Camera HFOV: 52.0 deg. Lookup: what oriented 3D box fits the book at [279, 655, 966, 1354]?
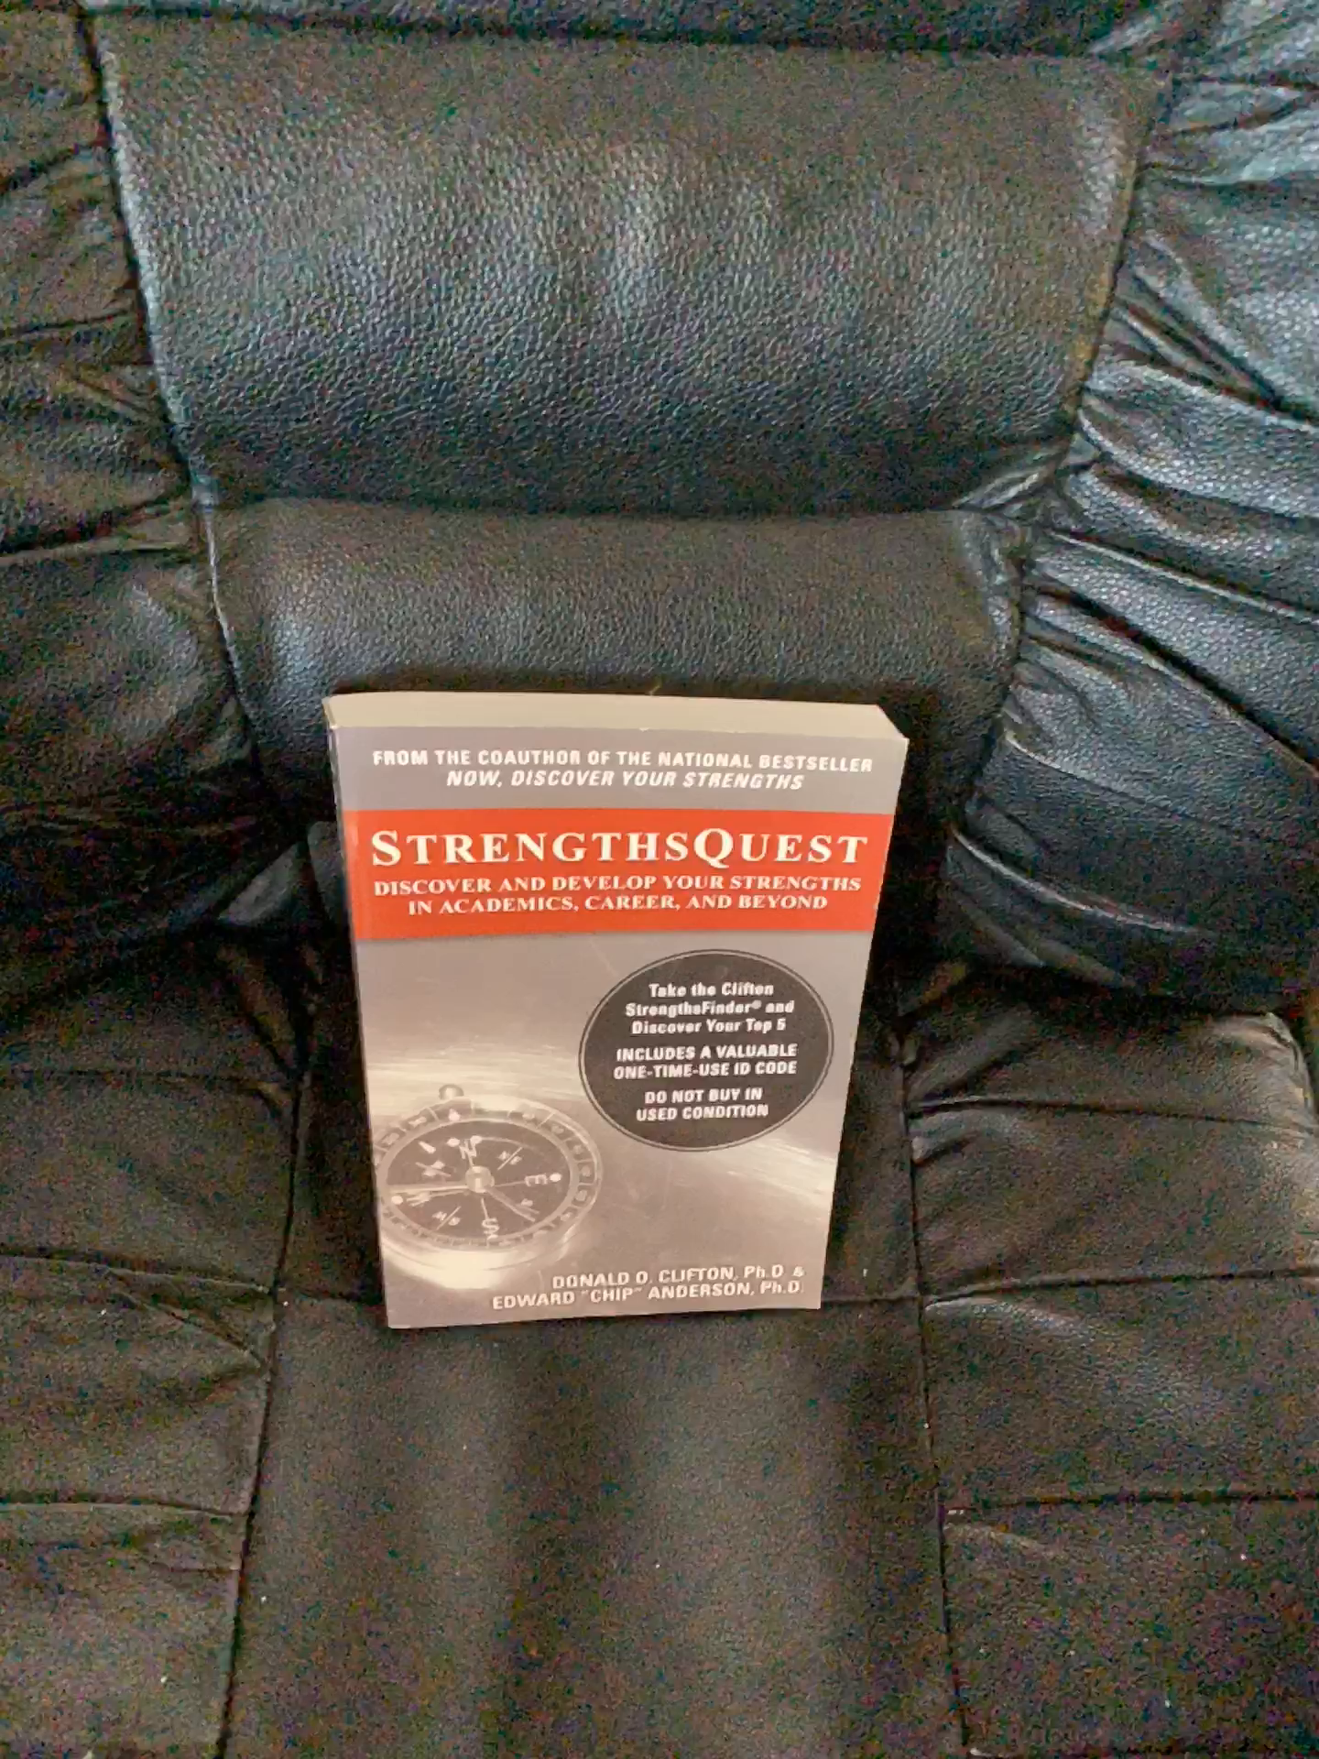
[{"bbox_3d":[-0.010,0.050,0.412,0.170,0.239,0.030,-2,34,-4],"label":"book"}]
